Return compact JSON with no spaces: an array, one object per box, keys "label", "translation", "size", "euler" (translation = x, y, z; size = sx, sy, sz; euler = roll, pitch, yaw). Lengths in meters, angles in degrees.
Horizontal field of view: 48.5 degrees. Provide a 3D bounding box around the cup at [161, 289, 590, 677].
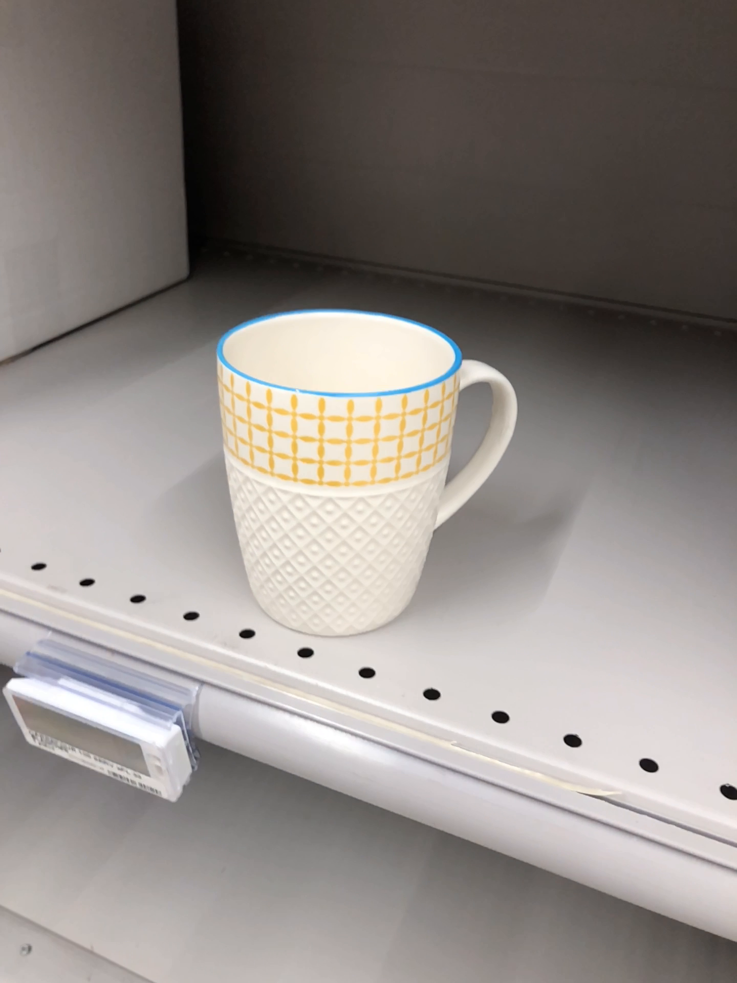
[{"label":"cup","translation":[-0.001,-0.015,0.315],"size":[0.118,0.092,0.105],"euler":[-15,30,-27]}]
